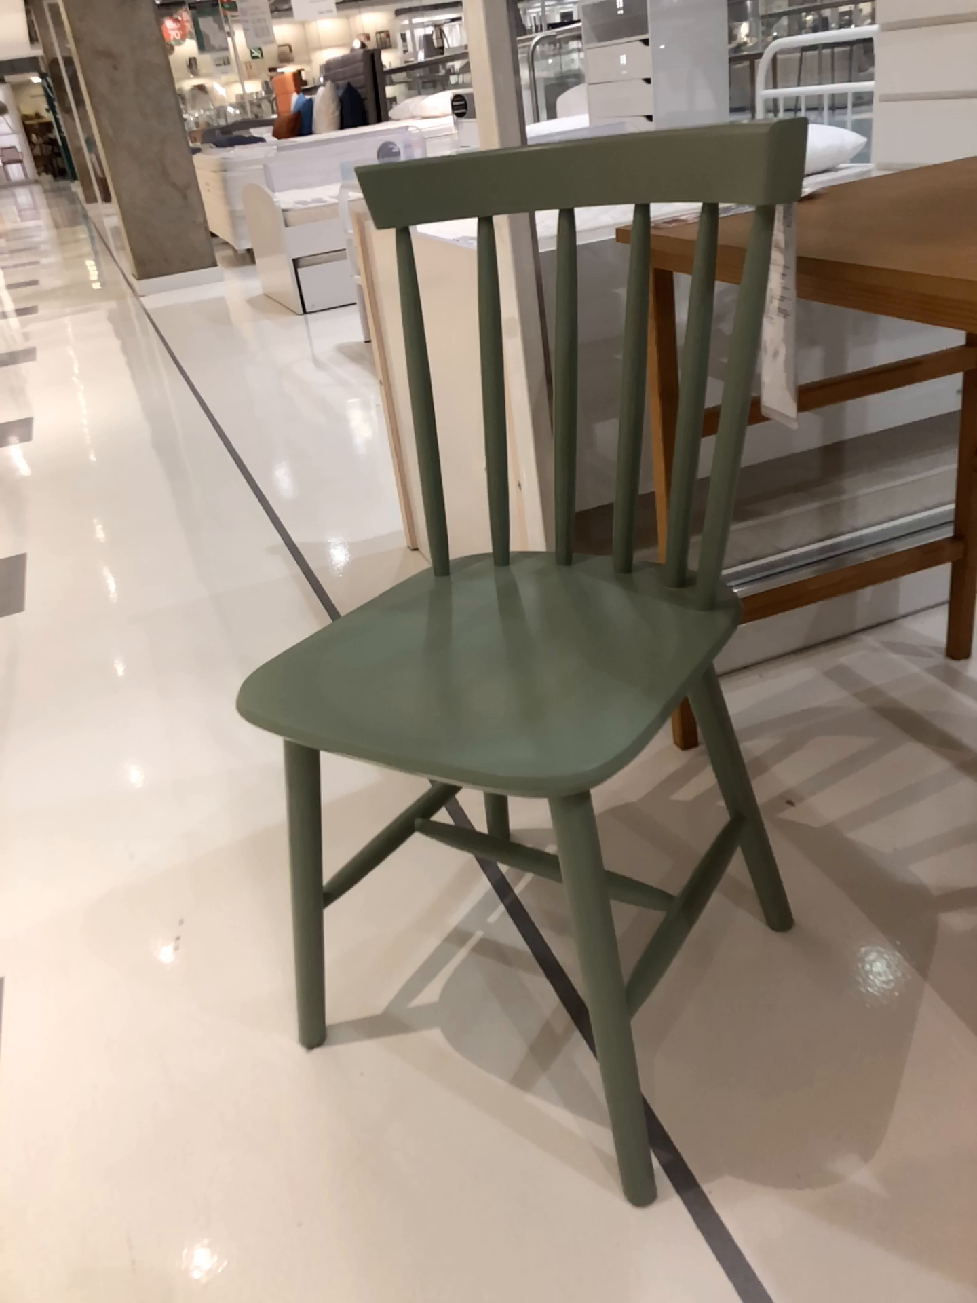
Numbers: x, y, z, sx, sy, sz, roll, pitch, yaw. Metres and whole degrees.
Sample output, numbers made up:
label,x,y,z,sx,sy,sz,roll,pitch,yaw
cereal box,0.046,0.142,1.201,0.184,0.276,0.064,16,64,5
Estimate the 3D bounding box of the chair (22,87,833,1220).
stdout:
label,x,y,z,sx,sy,sz,roll,pitch,yaw
chair,0.027,-0.021,1.016,0.451,0.834,0.463,10,32,32
